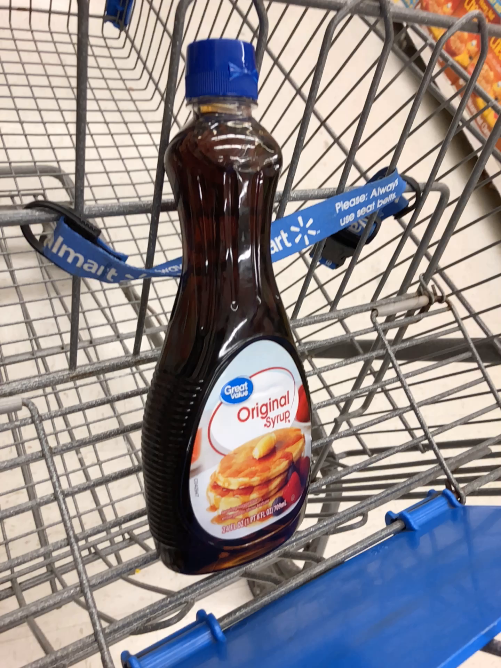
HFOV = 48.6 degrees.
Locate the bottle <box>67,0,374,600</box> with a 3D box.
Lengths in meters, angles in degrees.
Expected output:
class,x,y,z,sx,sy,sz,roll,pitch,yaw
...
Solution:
class,x,y,z,sx,sy,sz,roll,pitch,yaw
bottle,-0.008,-0.016,0.287,0.120,0.070,0.250,-11,103,-31
